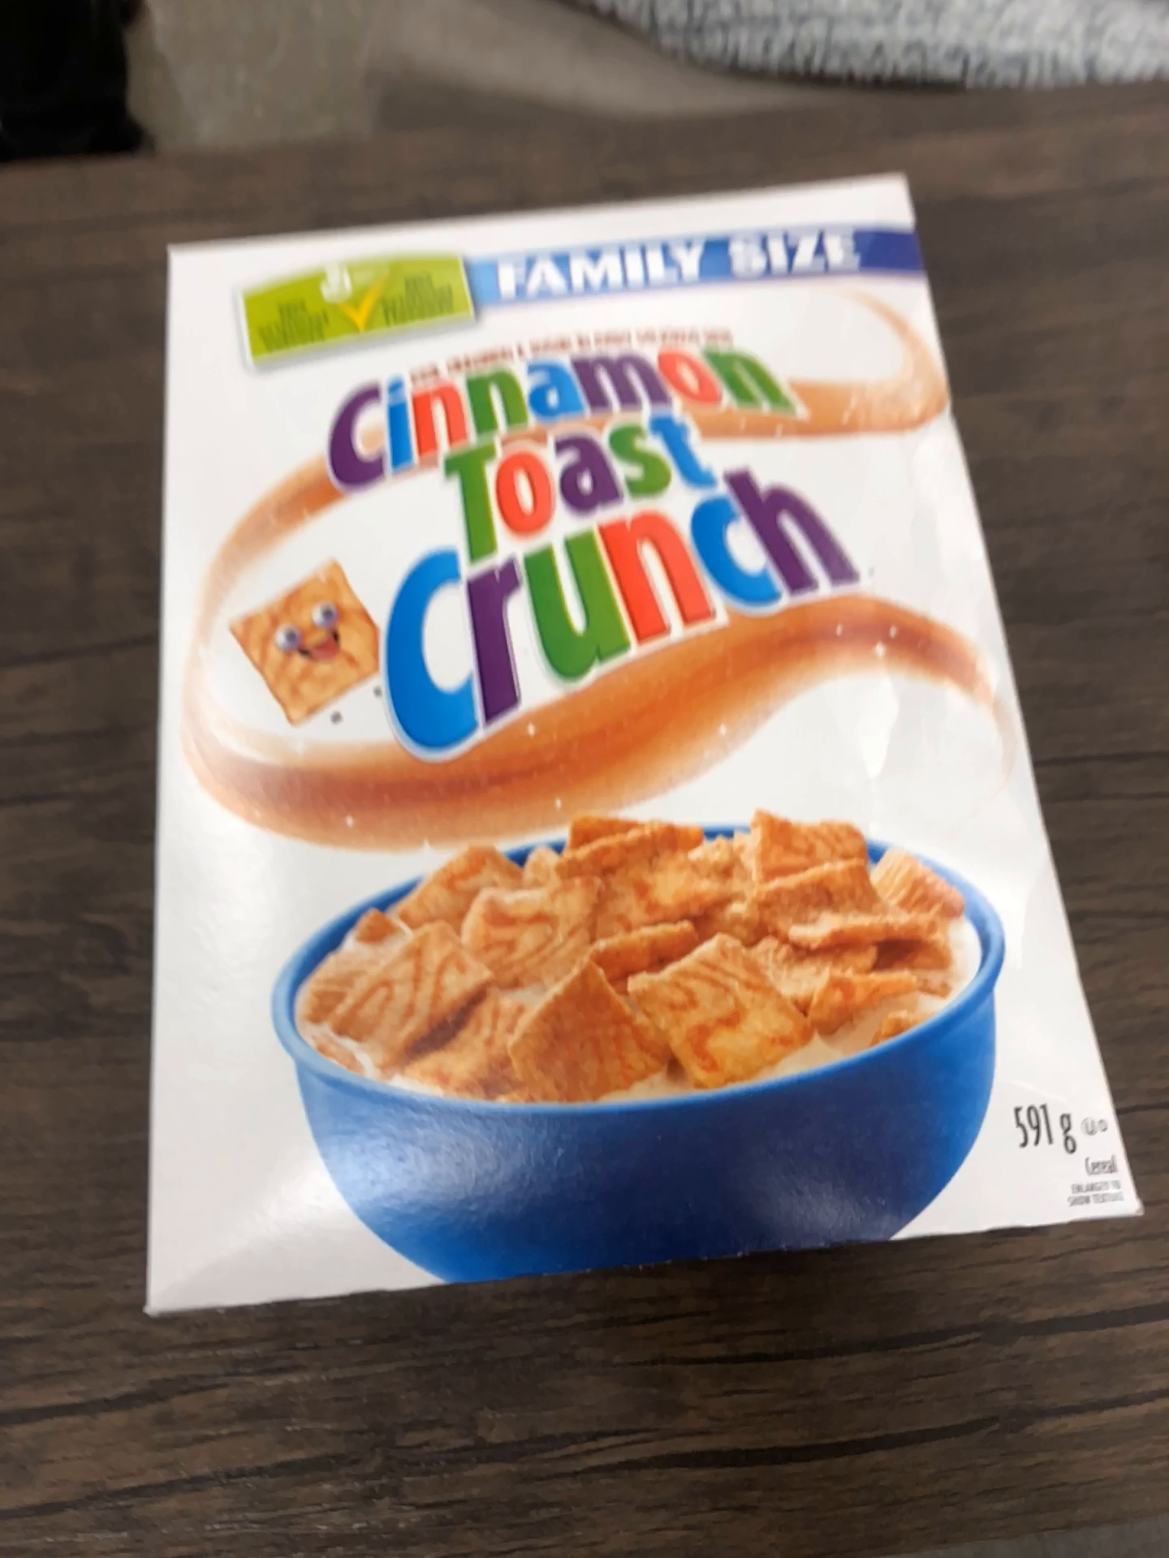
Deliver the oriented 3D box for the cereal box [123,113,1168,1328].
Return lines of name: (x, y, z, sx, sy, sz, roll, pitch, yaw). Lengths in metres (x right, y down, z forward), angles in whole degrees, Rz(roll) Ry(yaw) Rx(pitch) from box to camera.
cereal box: (-0.001, -0.037, 0.408, 0.250, 0.070, 0.360, -5, 69, -2)
